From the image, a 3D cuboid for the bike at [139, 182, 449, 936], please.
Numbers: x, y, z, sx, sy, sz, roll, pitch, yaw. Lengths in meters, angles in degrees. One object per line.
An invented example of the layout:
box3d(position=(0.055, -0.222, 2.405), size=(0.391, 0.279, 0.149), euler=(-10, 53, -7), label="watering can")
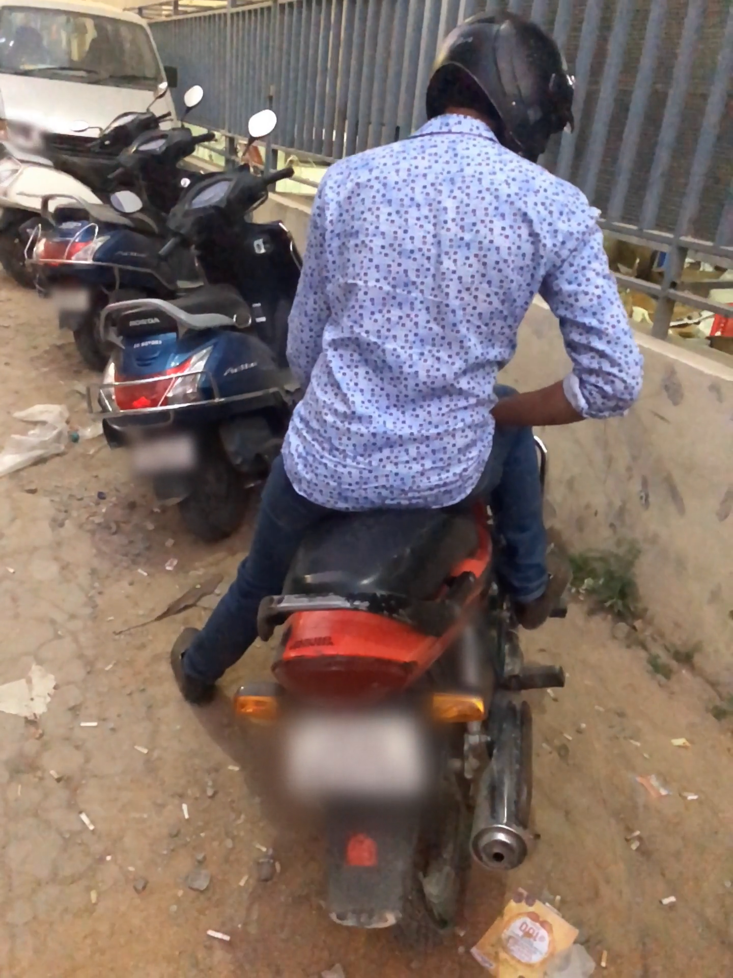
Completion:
box3d(position=(-0.125, -0.096, 1.943), size=(0.424, 0.830, 1.661), euler=(6, 30, -1), label="bike")
